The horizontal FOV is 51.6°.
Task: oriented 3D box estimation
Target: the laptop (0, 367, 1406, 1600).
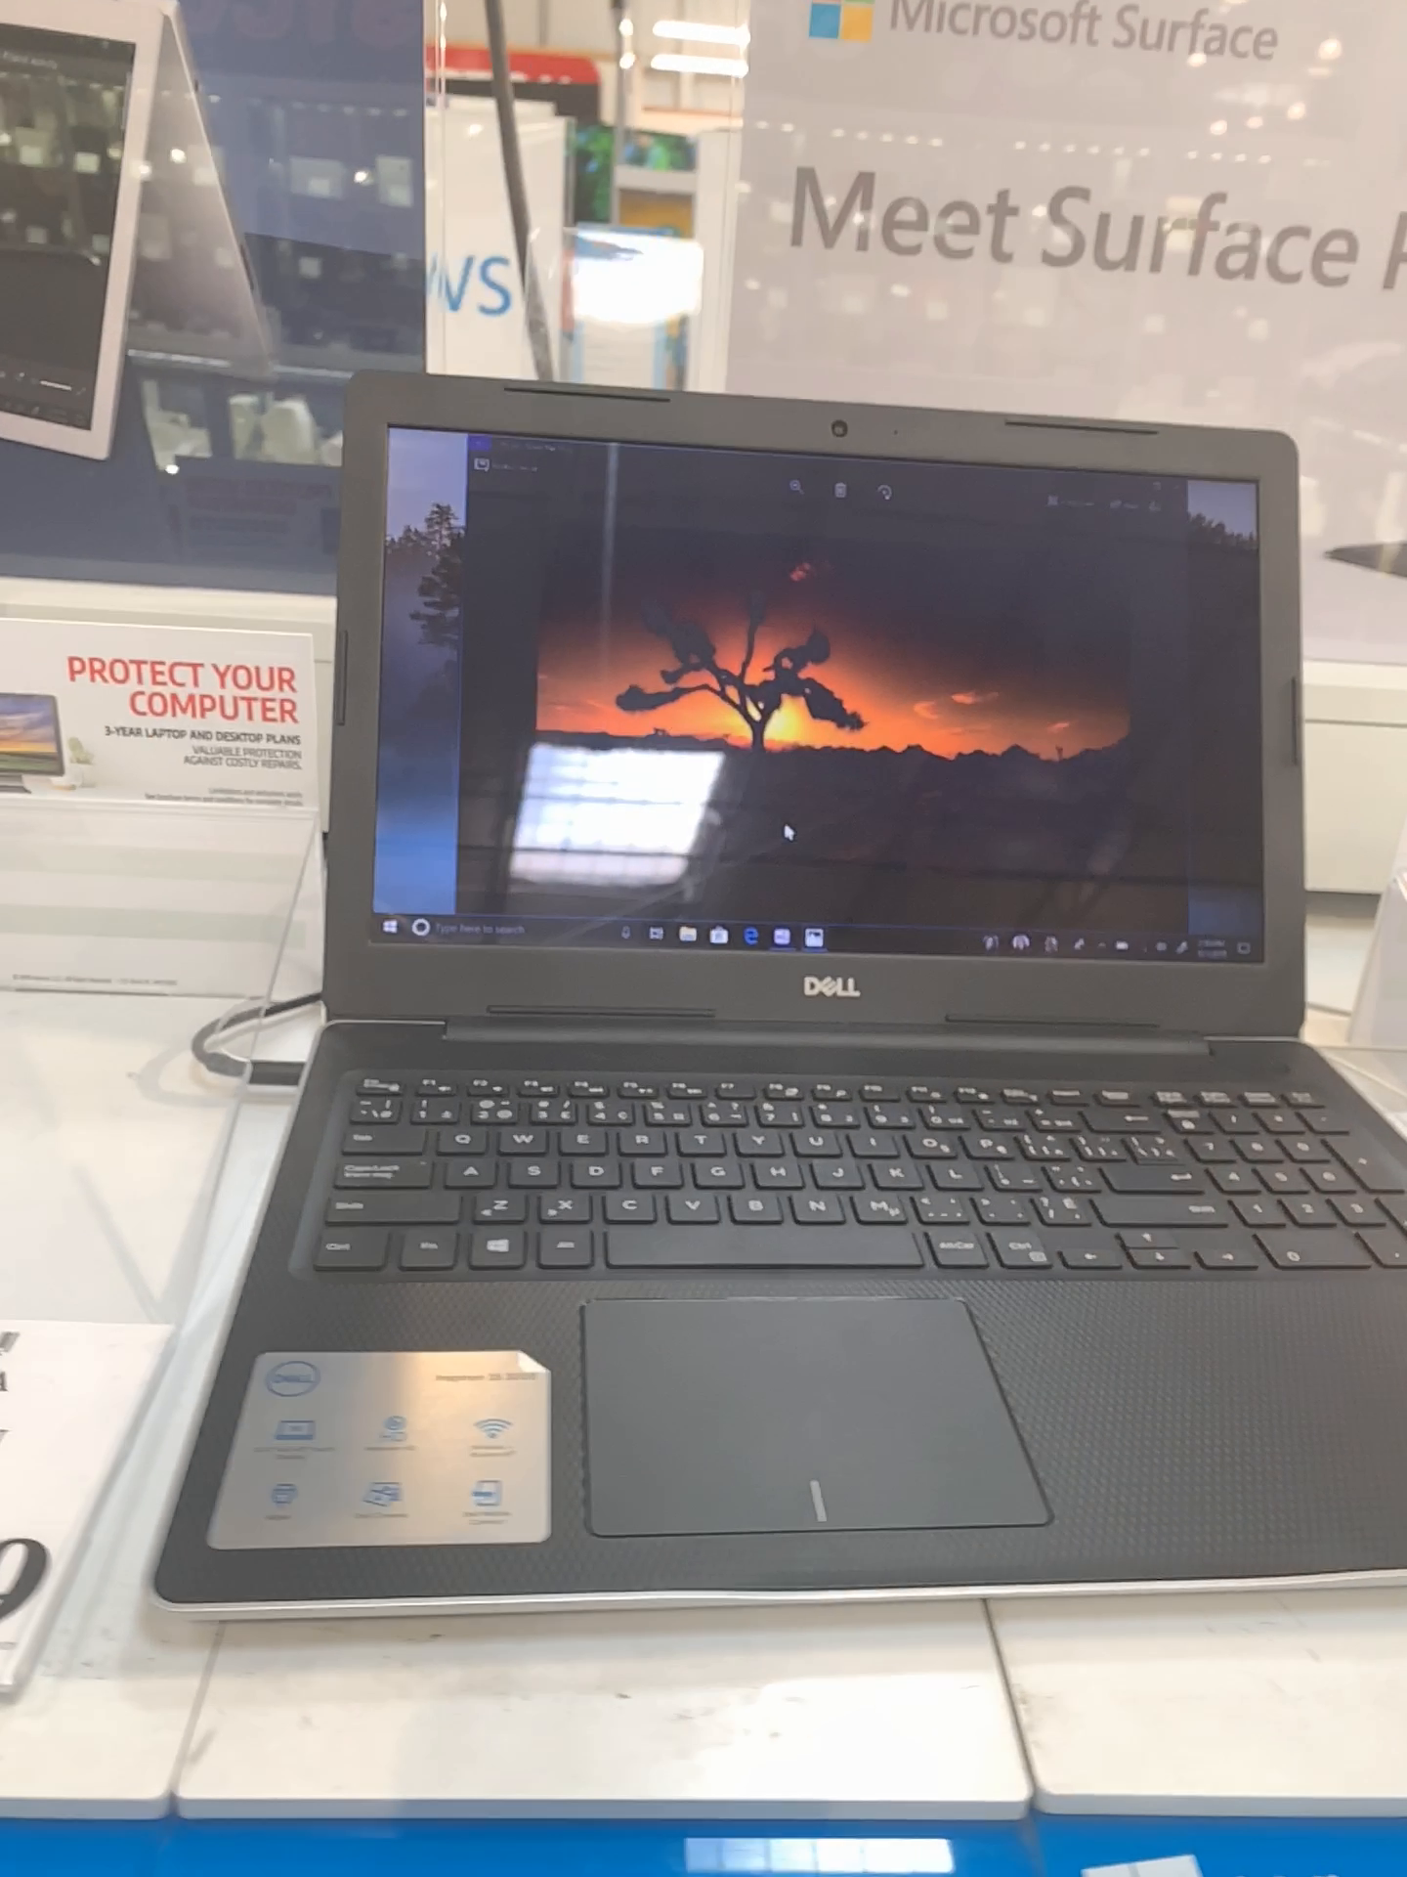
[{"bbox_3d":[0.055,-0.031,0.418,0.357,0.205,0.343,2,23,-8],"label":"laptop"}]
